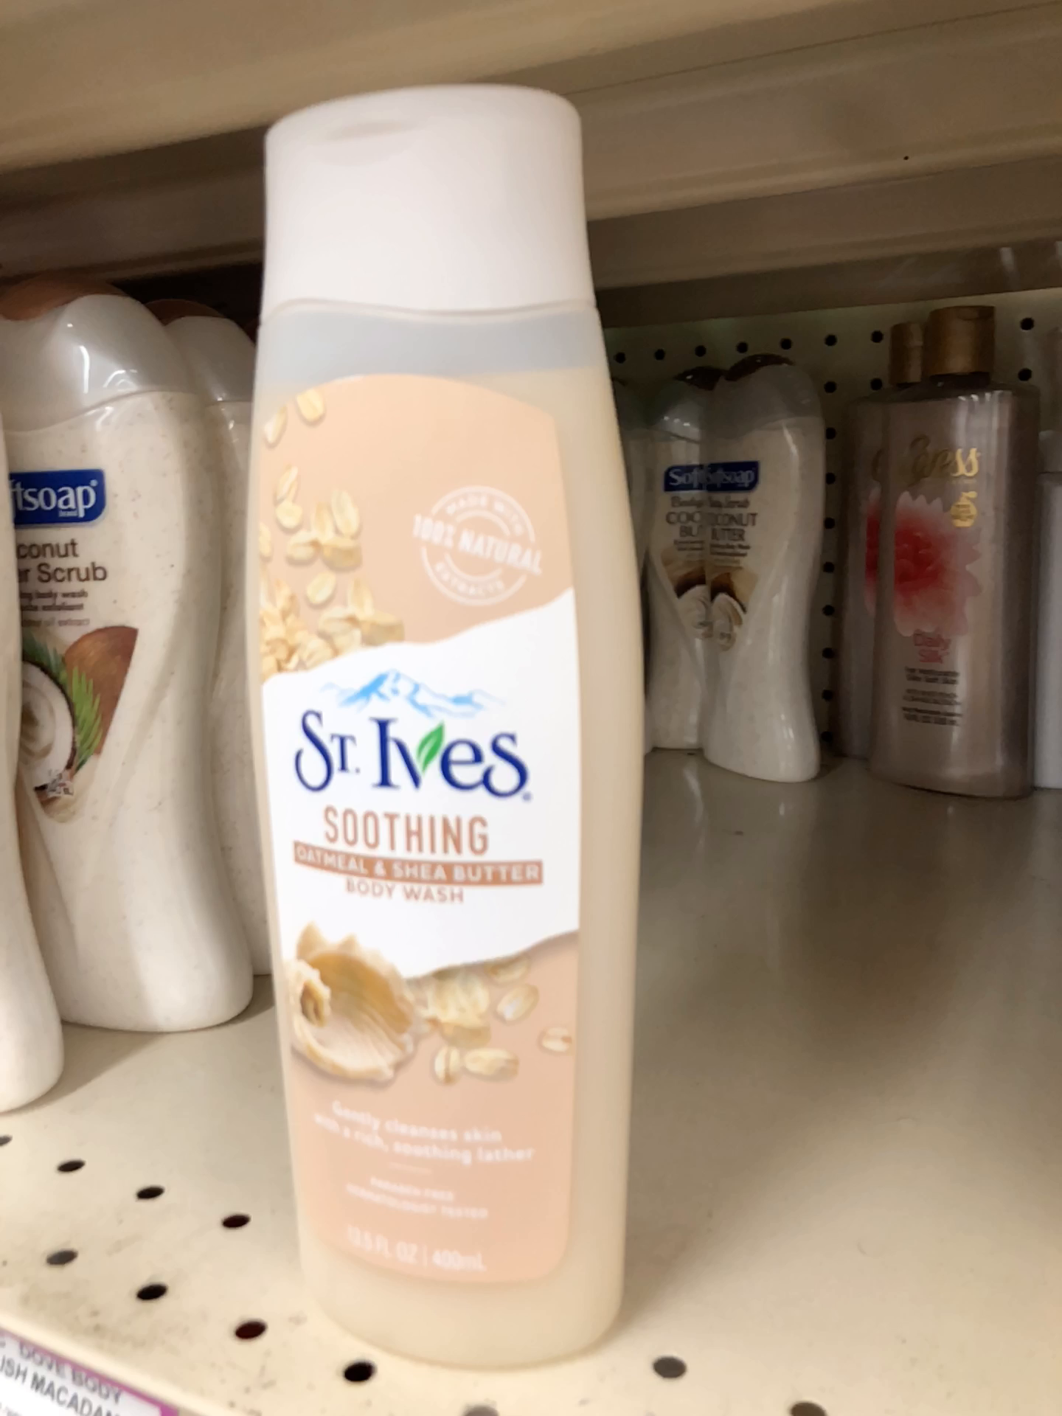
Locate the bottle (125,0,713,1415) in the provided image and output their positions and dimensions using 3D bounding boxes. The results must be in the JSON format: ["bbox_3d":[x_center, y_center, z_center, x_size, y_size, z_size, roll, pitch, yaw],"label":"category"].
[{"bbox_3d":[-0.013,0.004,0.216,0.080,0.230,0.050,2,13,21],"label":"bottle"}]
